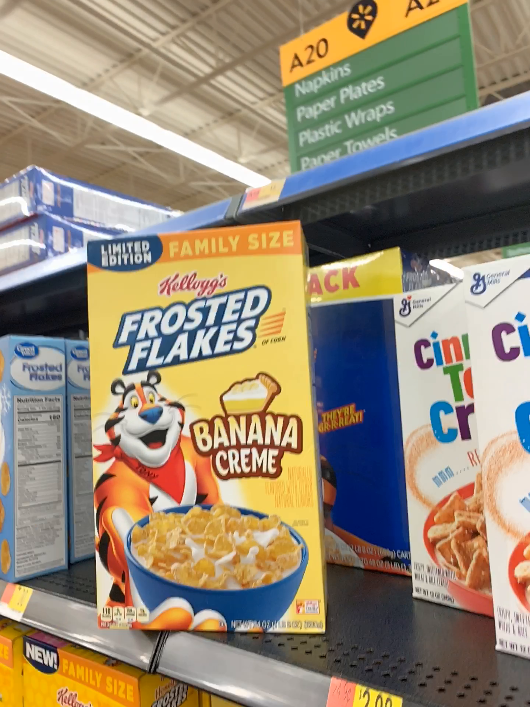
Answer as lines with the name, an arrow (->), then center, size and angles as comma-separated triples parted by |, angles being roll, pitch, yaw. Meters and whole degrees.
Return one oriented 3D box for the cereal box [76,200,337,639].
cereal box -> -0.049, 0.054, 0.479 | 0.200, 0.340, 0.080 | -4, -5, 8
